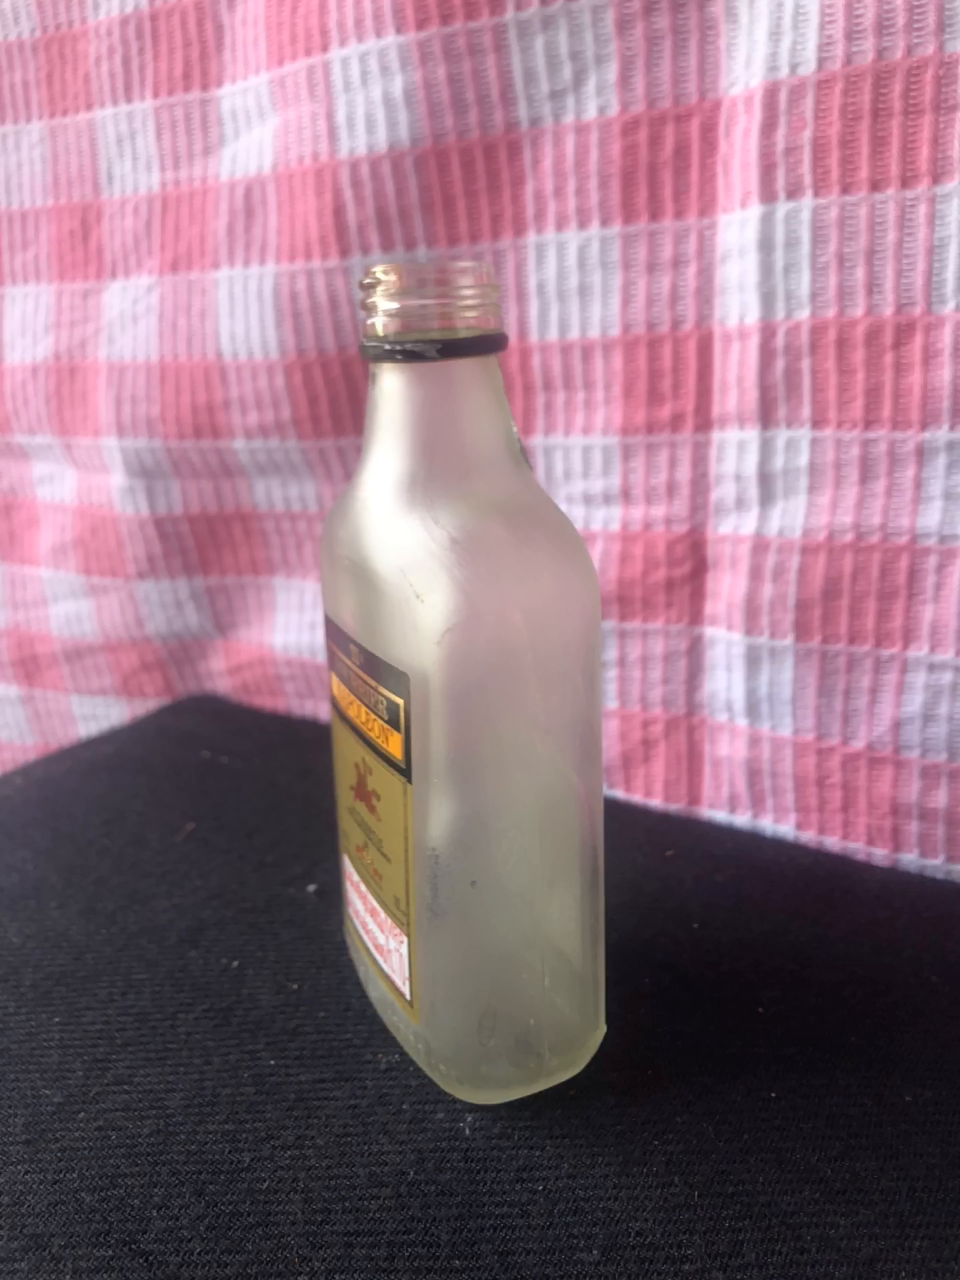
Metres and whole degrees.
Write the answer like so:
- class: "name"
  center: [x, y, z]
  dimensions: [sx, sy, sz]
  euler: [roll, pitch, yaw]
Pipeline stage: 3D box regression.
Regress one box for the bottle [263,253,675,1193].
- class: "bottle"
  center: [-0.003, 0.010, 0.199]
  dimensions: [0.040, 0.149, 0.070]
  euler: [-11, 20, -25]
